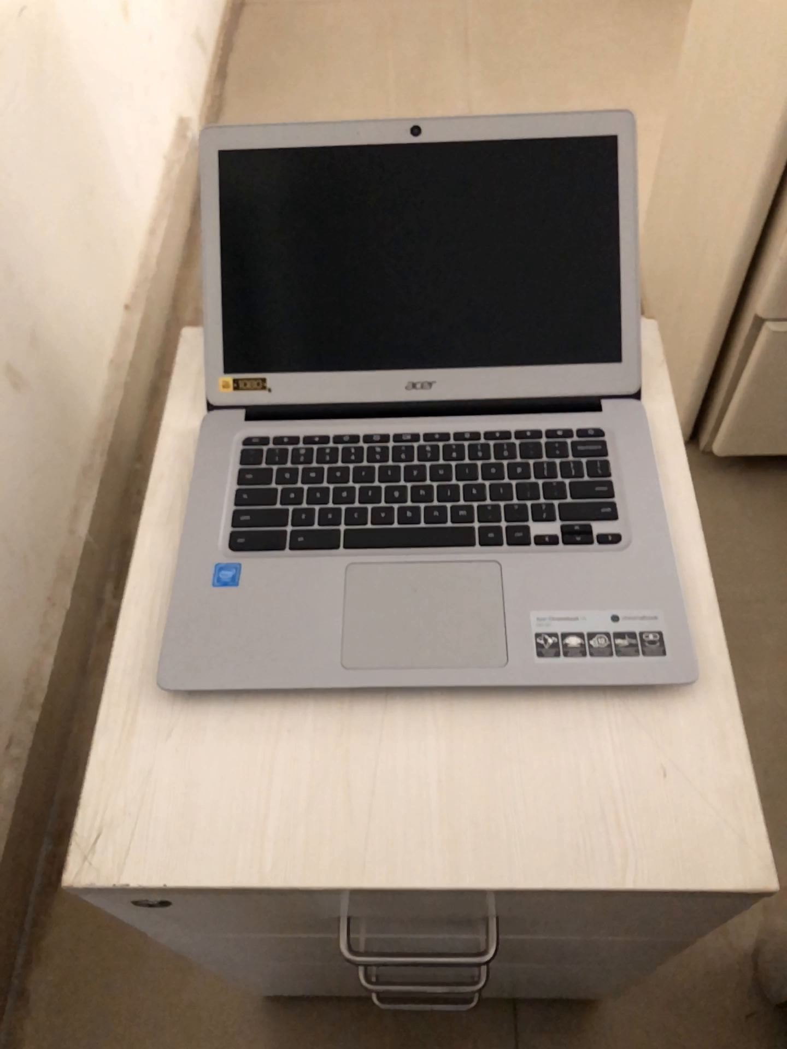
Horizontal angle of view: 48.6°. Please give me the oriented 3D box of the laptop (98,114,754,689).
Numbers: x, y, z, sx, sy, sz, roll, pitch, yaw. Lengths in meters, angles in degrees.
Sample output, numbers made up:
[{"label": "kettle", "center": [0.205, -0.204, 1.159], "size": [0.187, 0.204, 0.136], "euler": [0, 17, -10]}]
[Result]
[{"label": "laptop", "center": [0.019, -0.104, 0.607], "size": [0.332, 0.125, 0.410], "euler": [-1, 56, 2]}]
